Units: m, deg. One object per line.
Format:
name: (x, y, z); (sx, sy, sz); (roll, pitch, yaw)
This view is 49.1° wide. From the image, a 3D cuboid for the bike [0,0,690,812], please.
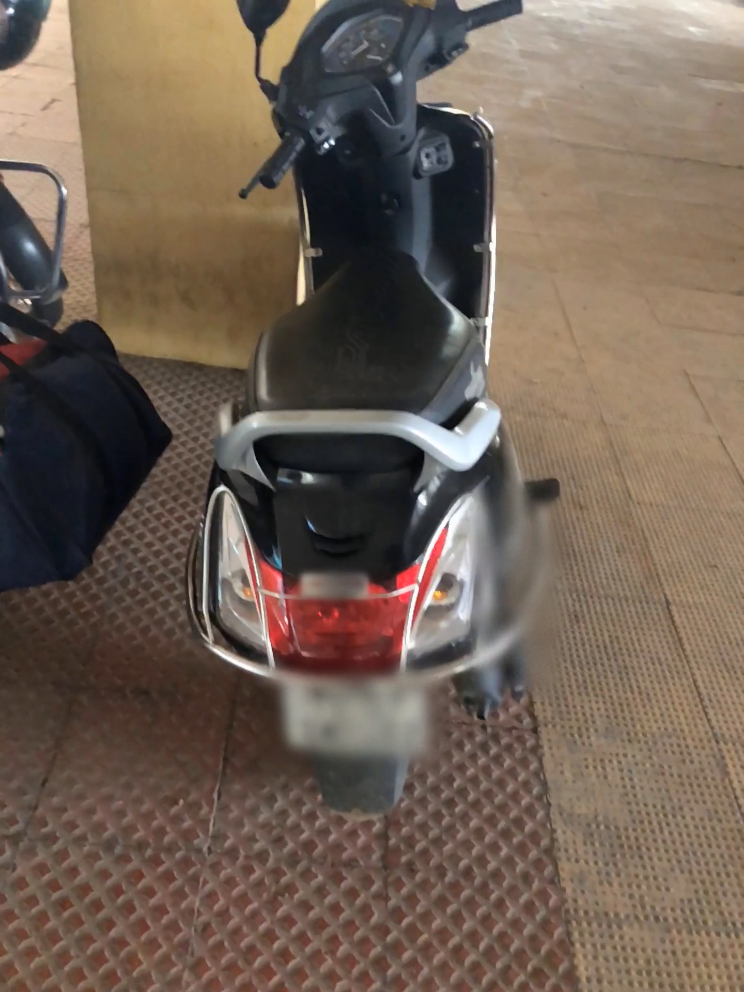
bike: (-0.145, -0.444, 1.566); (0.621, 0.882, 1.669); (4, 40, -7)
